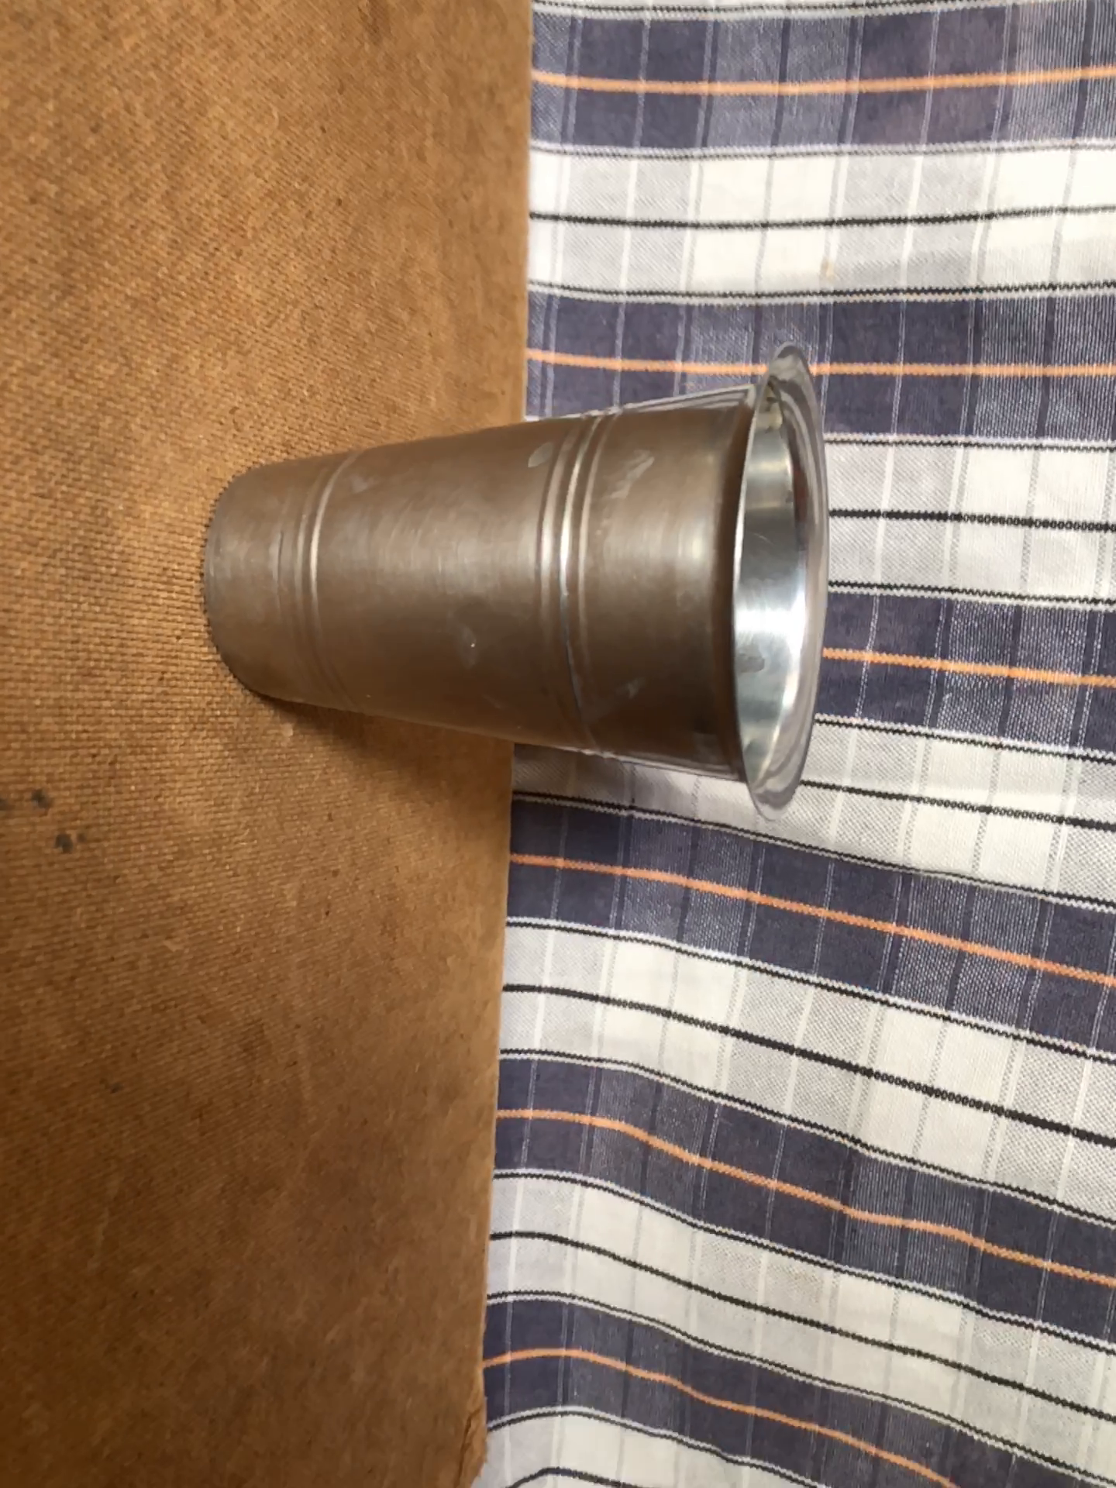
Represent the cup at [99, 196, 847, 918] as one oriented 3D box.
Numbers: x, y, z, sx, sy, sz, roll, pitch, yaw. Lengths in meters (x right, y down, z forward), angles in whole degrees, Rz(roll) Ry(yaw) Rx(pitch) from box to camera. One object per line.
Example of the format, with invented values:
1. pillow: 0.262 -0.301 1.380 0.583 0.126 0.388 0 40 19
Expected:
1. cup: -0.003 -0.026 0.219 0.091 0.089 0.080 57 40 -57
